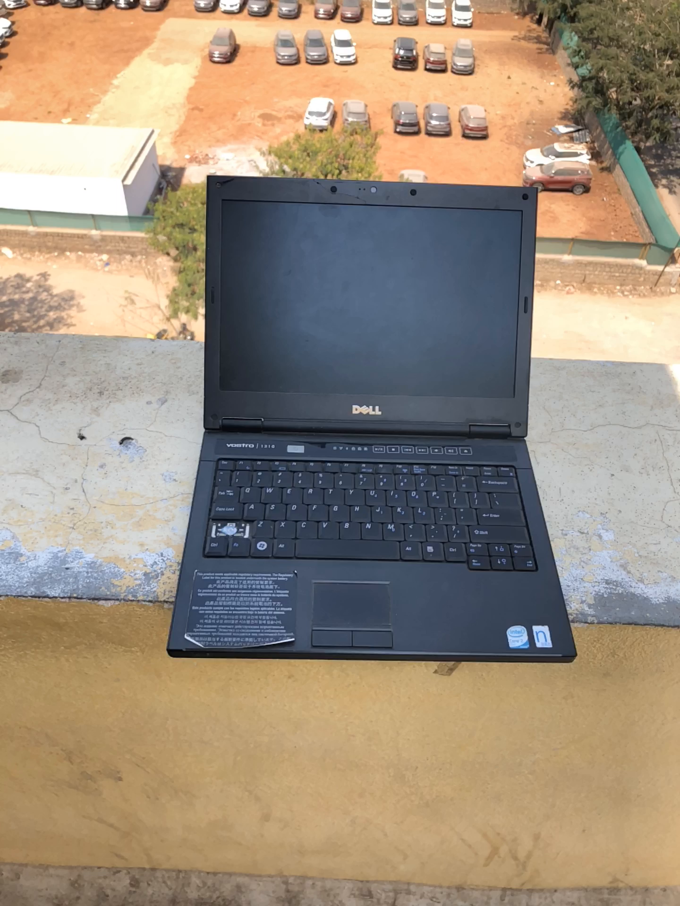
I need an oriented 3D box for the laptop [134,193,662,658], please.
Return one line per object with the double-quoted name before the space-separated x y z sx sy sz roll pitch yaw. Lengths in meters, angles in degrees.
"laptop" 0.035 -0.044 0.624 0.301 0.178 0.378 1 46 0
